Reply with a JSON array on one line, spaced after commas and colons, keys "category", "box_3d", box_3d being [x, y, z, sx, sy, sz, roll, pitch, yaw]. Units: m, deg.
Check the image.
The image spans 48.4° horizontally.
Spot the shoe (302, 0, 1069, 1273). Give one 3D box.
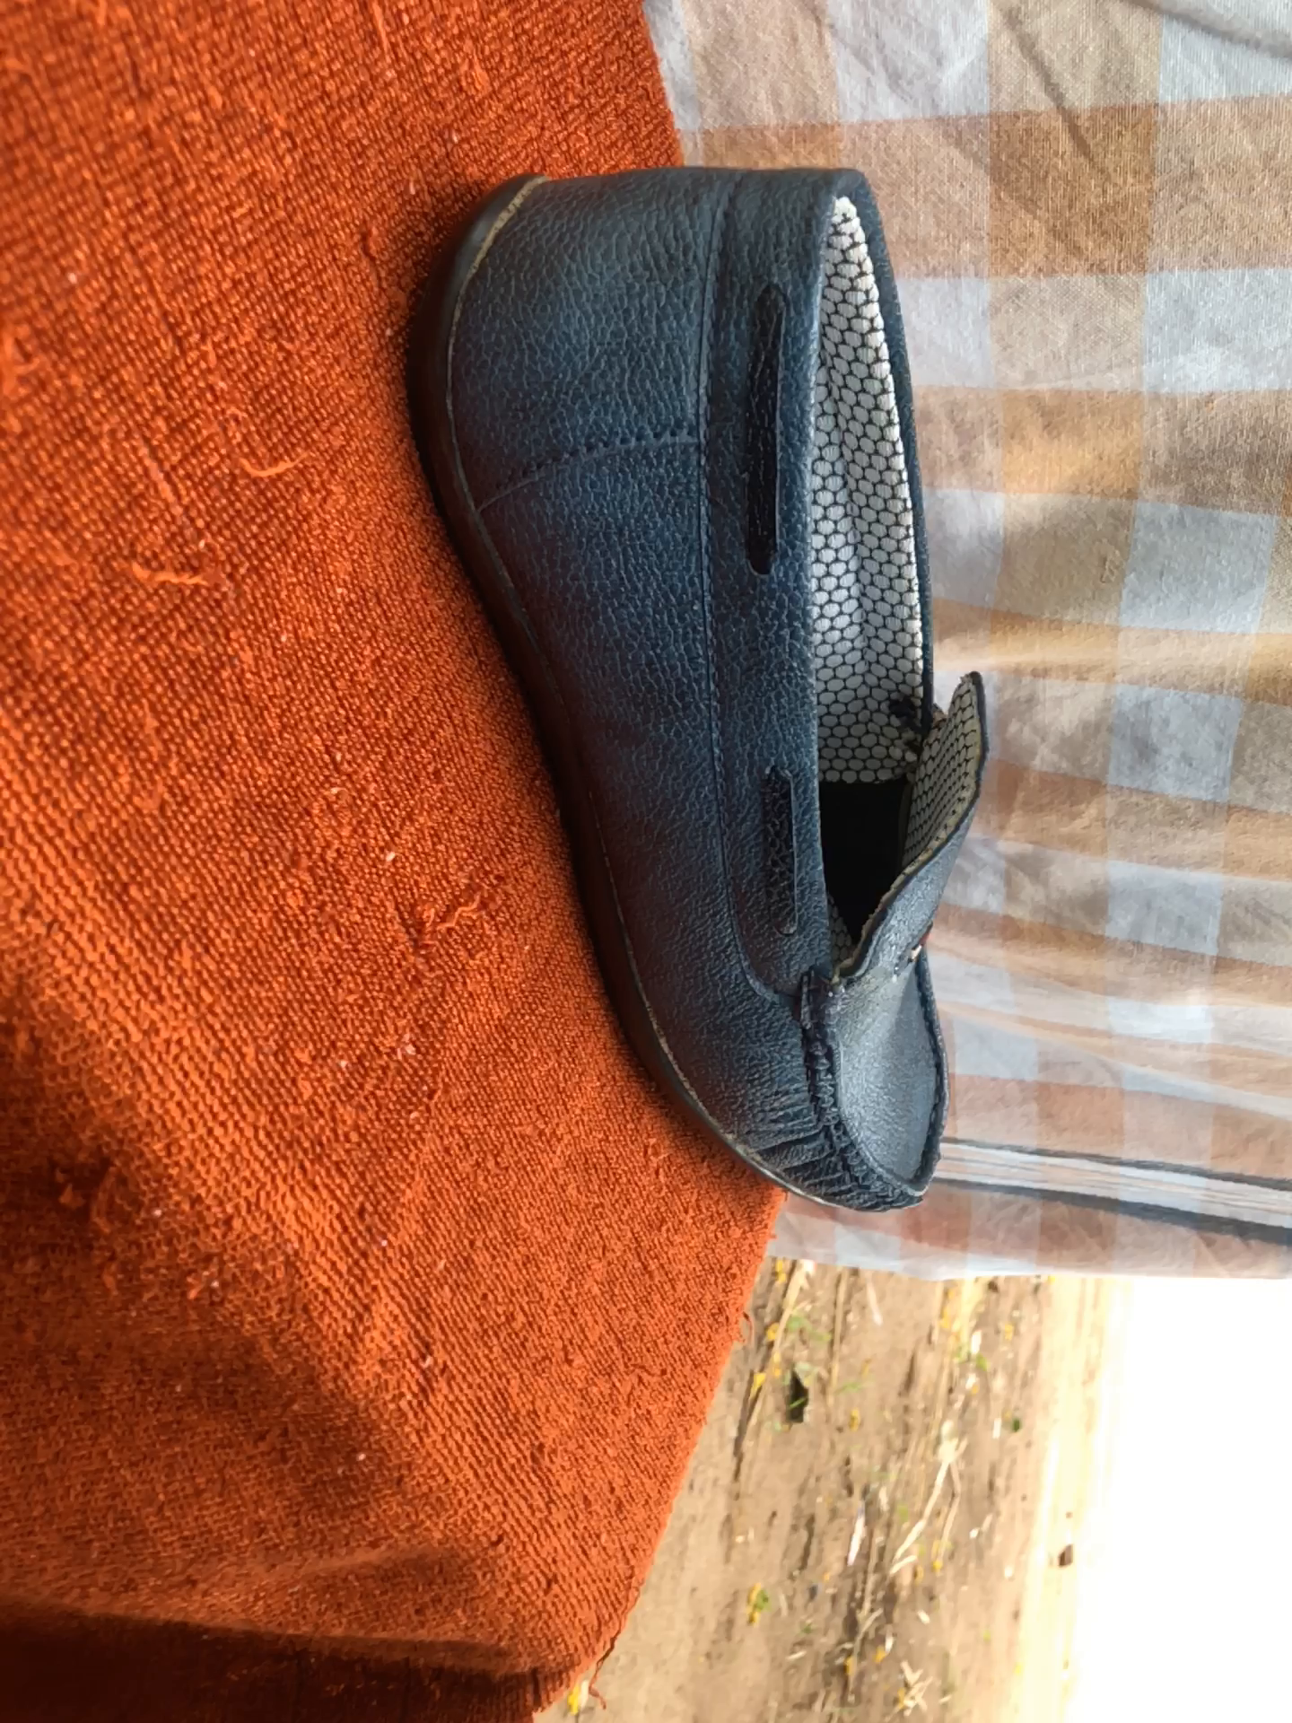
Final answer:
[{"category": "shoe", "box_3d": [0.035, -0.033, 0.320, 0.100, 0.089, 0.261, -62, 147, -41]}]
